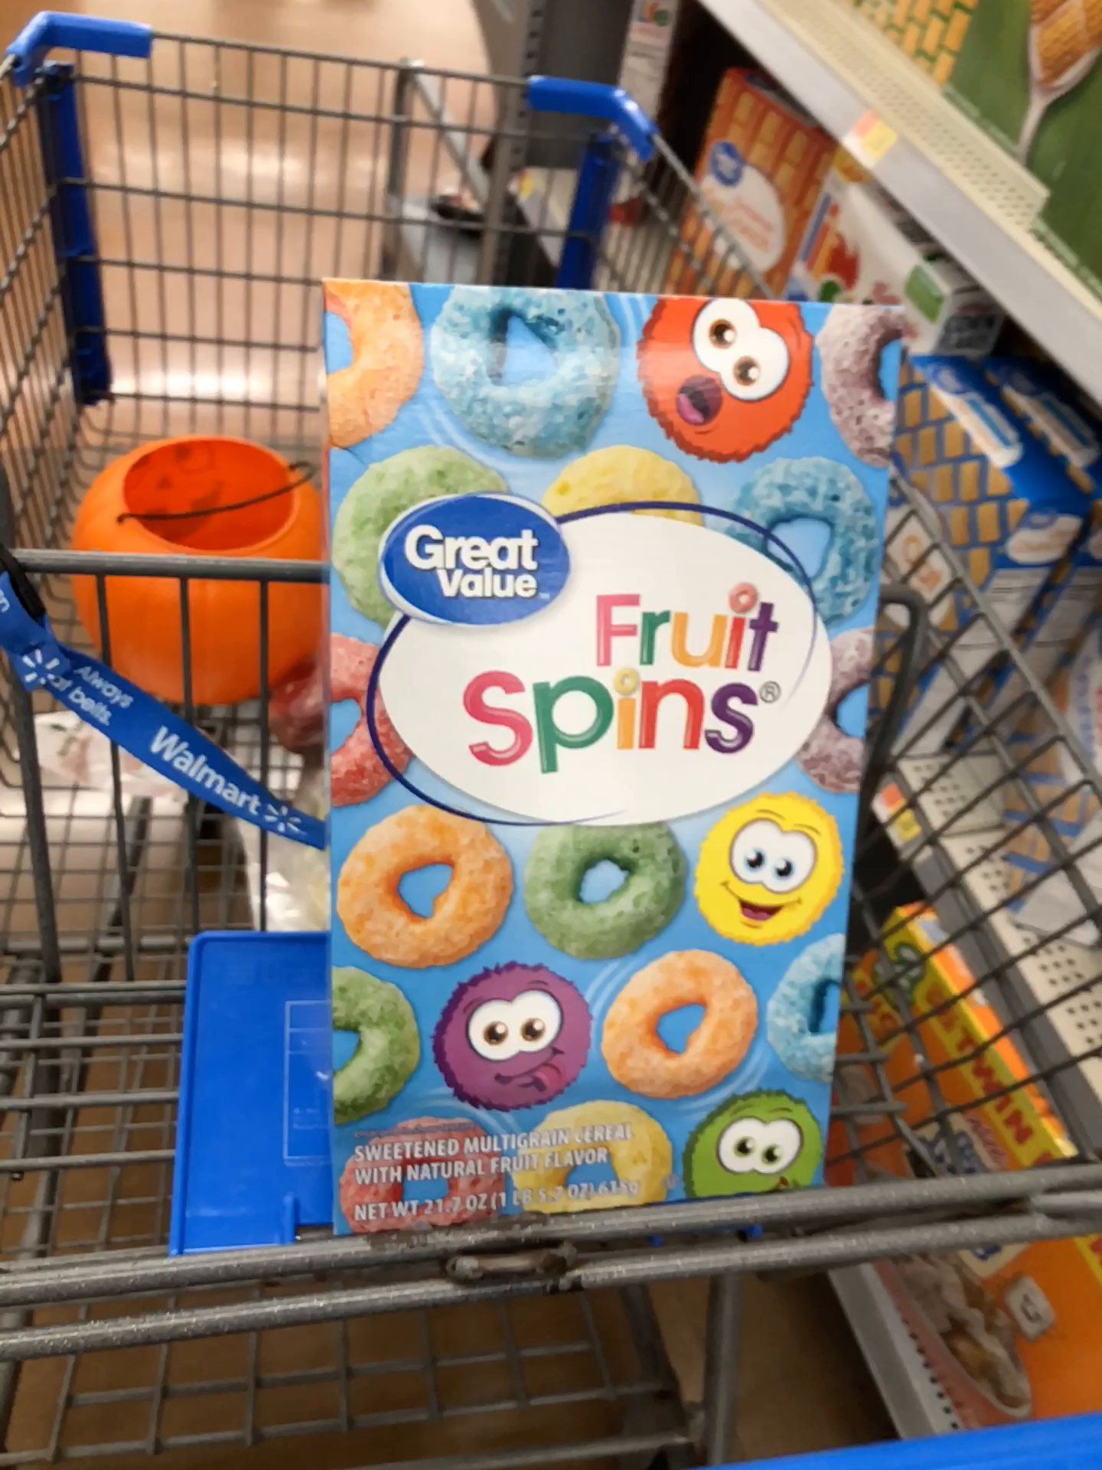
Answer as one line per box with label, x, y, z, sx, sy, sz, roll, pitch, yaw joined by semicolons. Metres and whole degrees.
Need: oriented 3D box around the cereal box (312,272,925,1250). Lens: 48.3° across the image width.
cereal box;0.012;0.012;0.477;0.200;0.340;0.090;-1;15;-13
